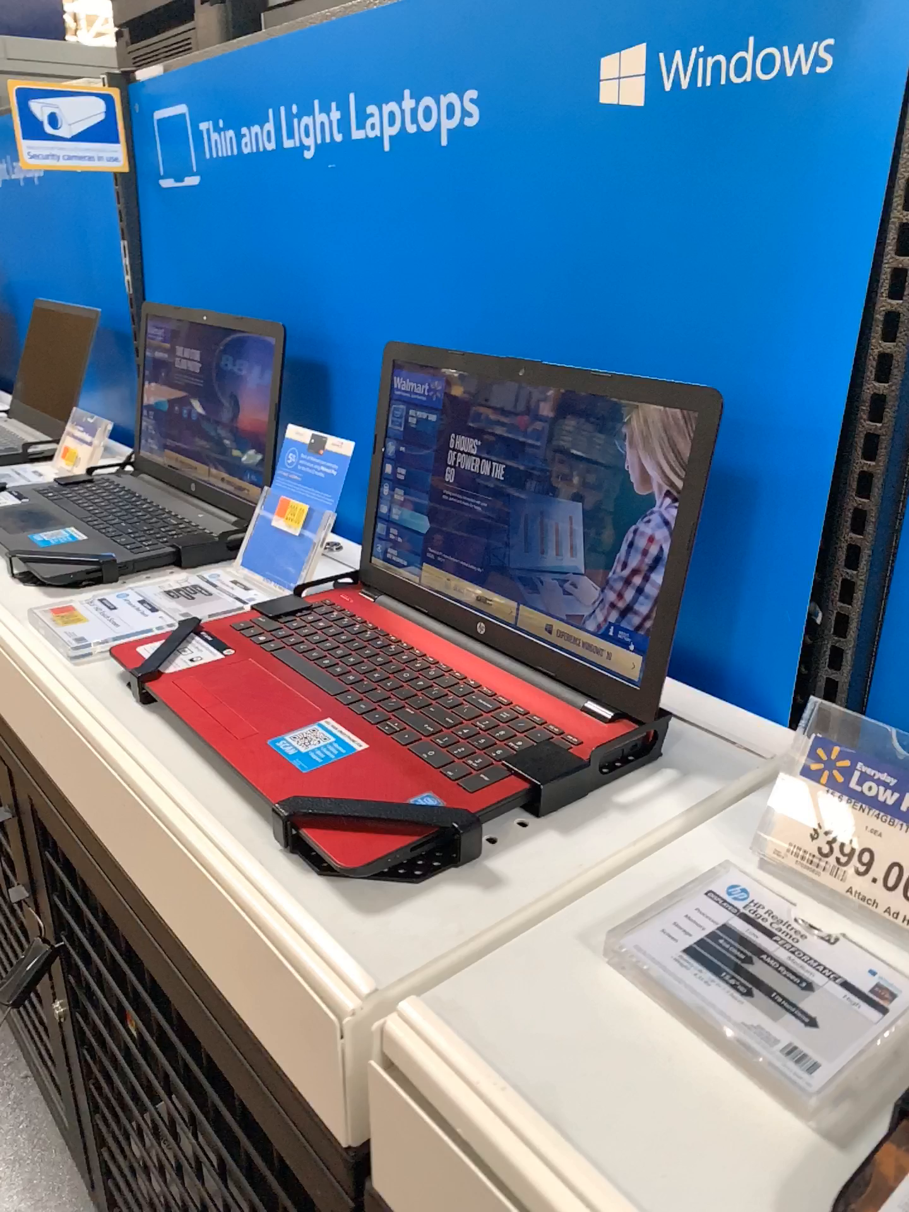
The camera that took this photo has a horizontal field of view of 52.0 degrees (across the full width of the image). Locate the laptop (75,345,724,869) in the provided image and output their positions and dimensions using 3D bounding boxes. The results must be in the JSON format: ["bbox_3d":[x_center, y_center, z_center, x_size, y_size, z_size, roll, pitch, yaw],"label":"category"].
[{"bbox_3d":[-0.057,-0.047,0.672,0.279,0.223,0.365,-16,26,-35],"label":"laptop"}]
